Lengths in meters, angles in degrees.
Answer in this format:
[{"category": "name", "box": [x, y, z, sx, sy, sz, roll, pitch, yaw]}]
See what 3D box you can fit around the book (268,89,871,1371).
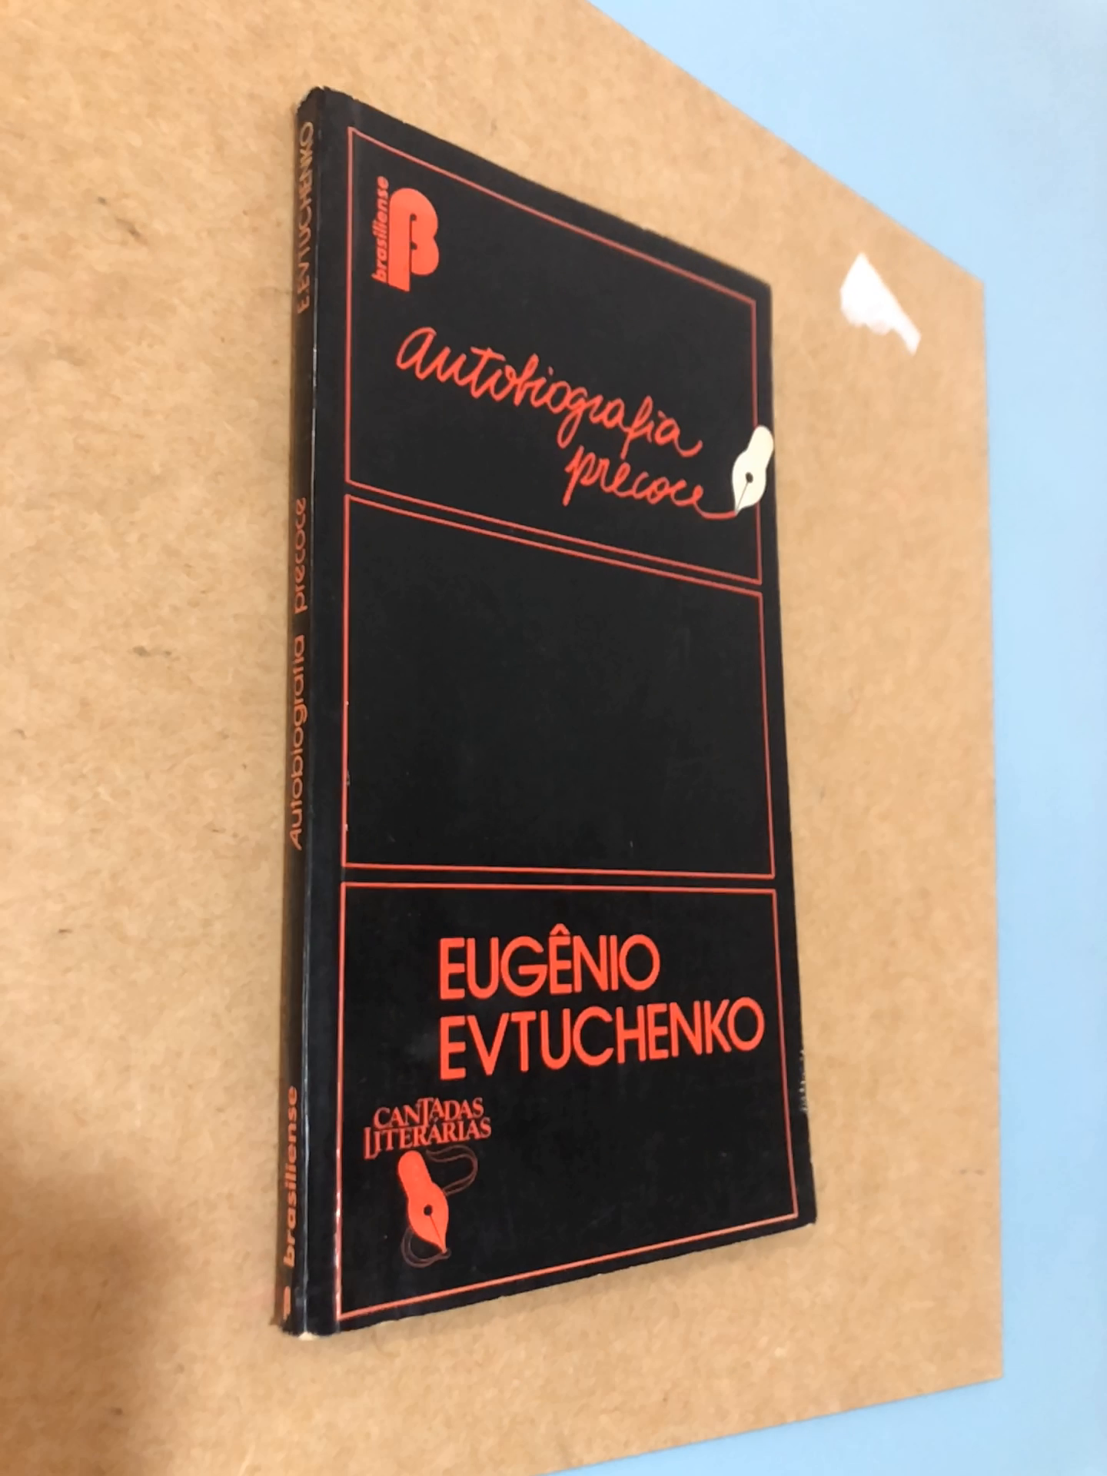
[{"category": "book", "box": [0.008, -0.004, 0.221, 0.114, 0.016, 0.190, 6, 78, -37]}]
